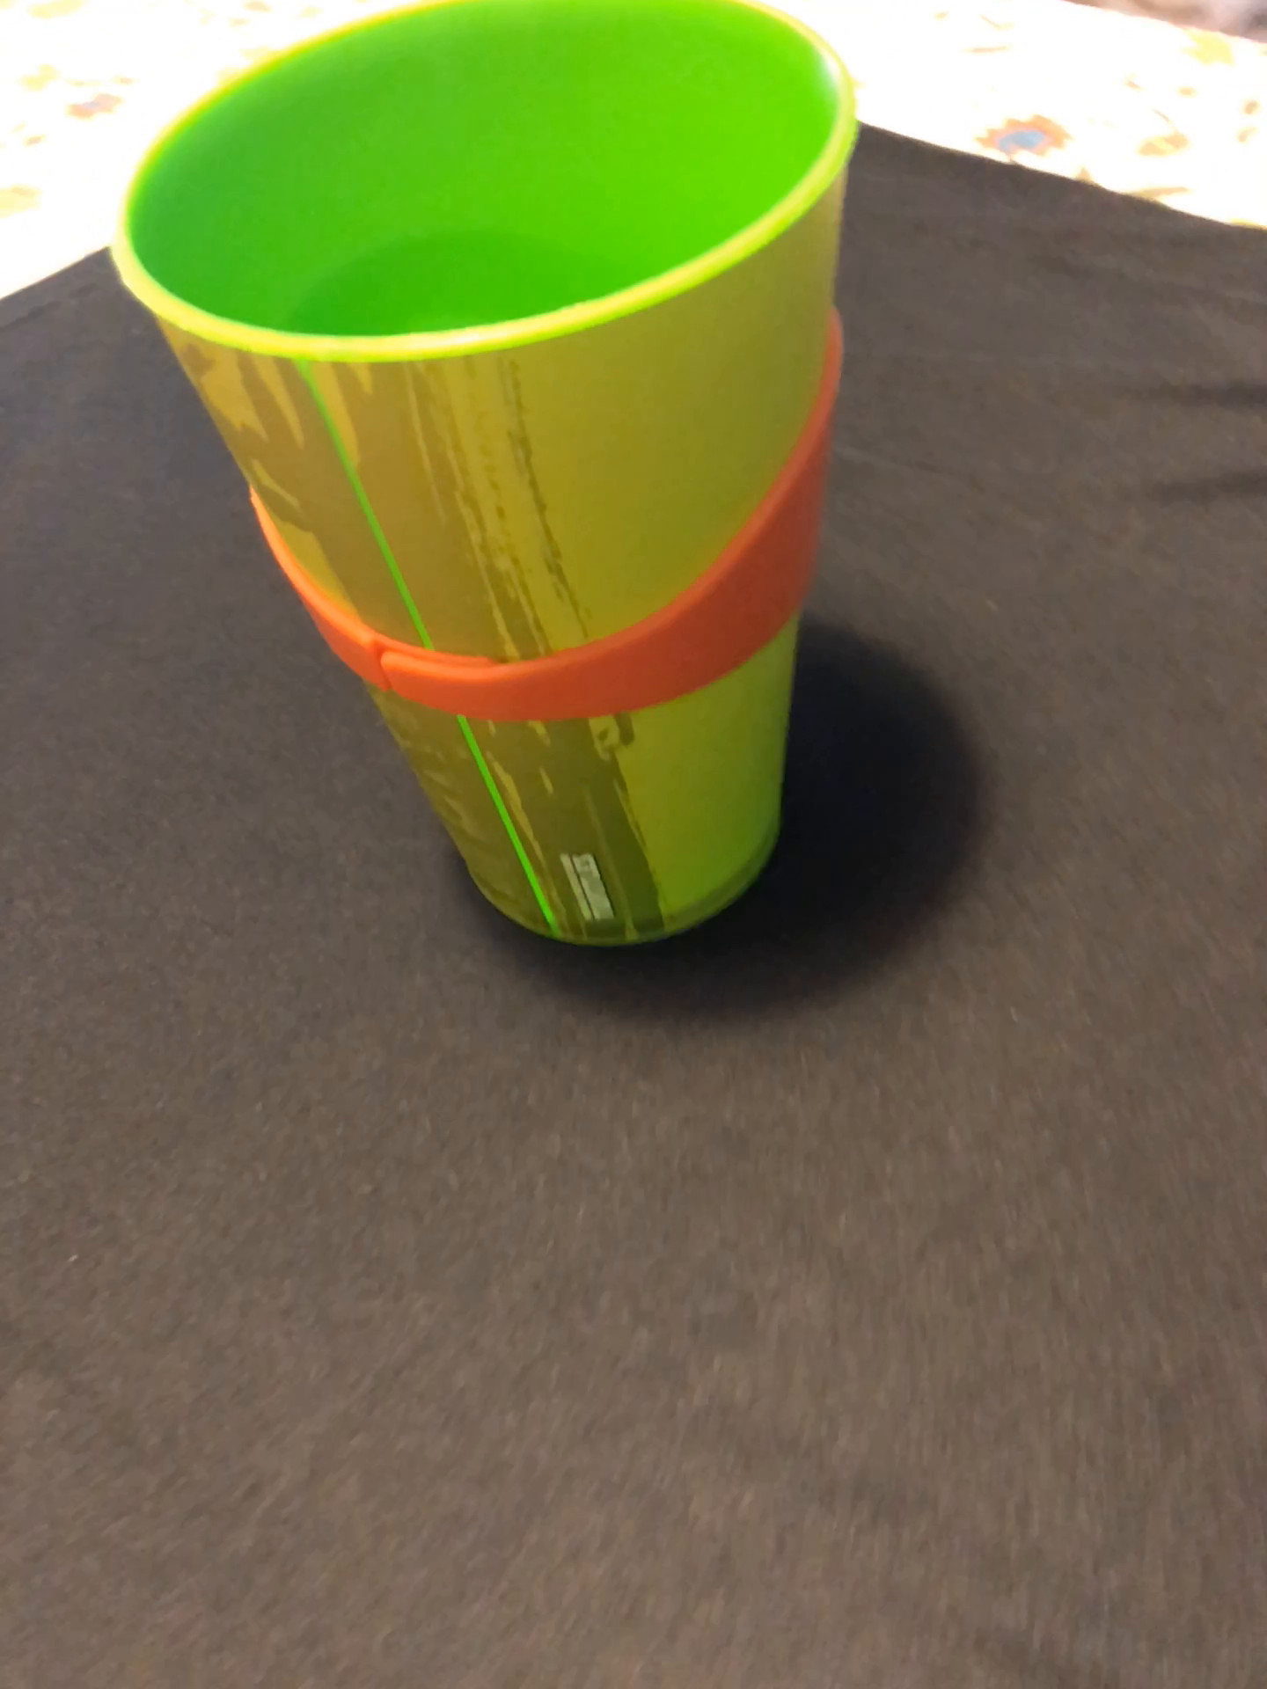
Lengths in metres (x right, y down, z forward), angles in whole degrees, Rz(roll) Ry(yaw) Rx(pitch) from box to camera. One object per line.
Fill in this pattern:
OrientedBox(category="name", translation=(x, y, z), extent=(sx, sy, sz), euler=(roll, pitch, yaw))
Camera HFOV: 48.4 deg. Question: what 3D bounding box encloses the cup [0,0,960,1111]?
OrientedBox(category="cup", translation=(-0.007, -0.046, 0.237), extent=(0.100, 0.139, 0.111), euler=(8, 53, 14))
